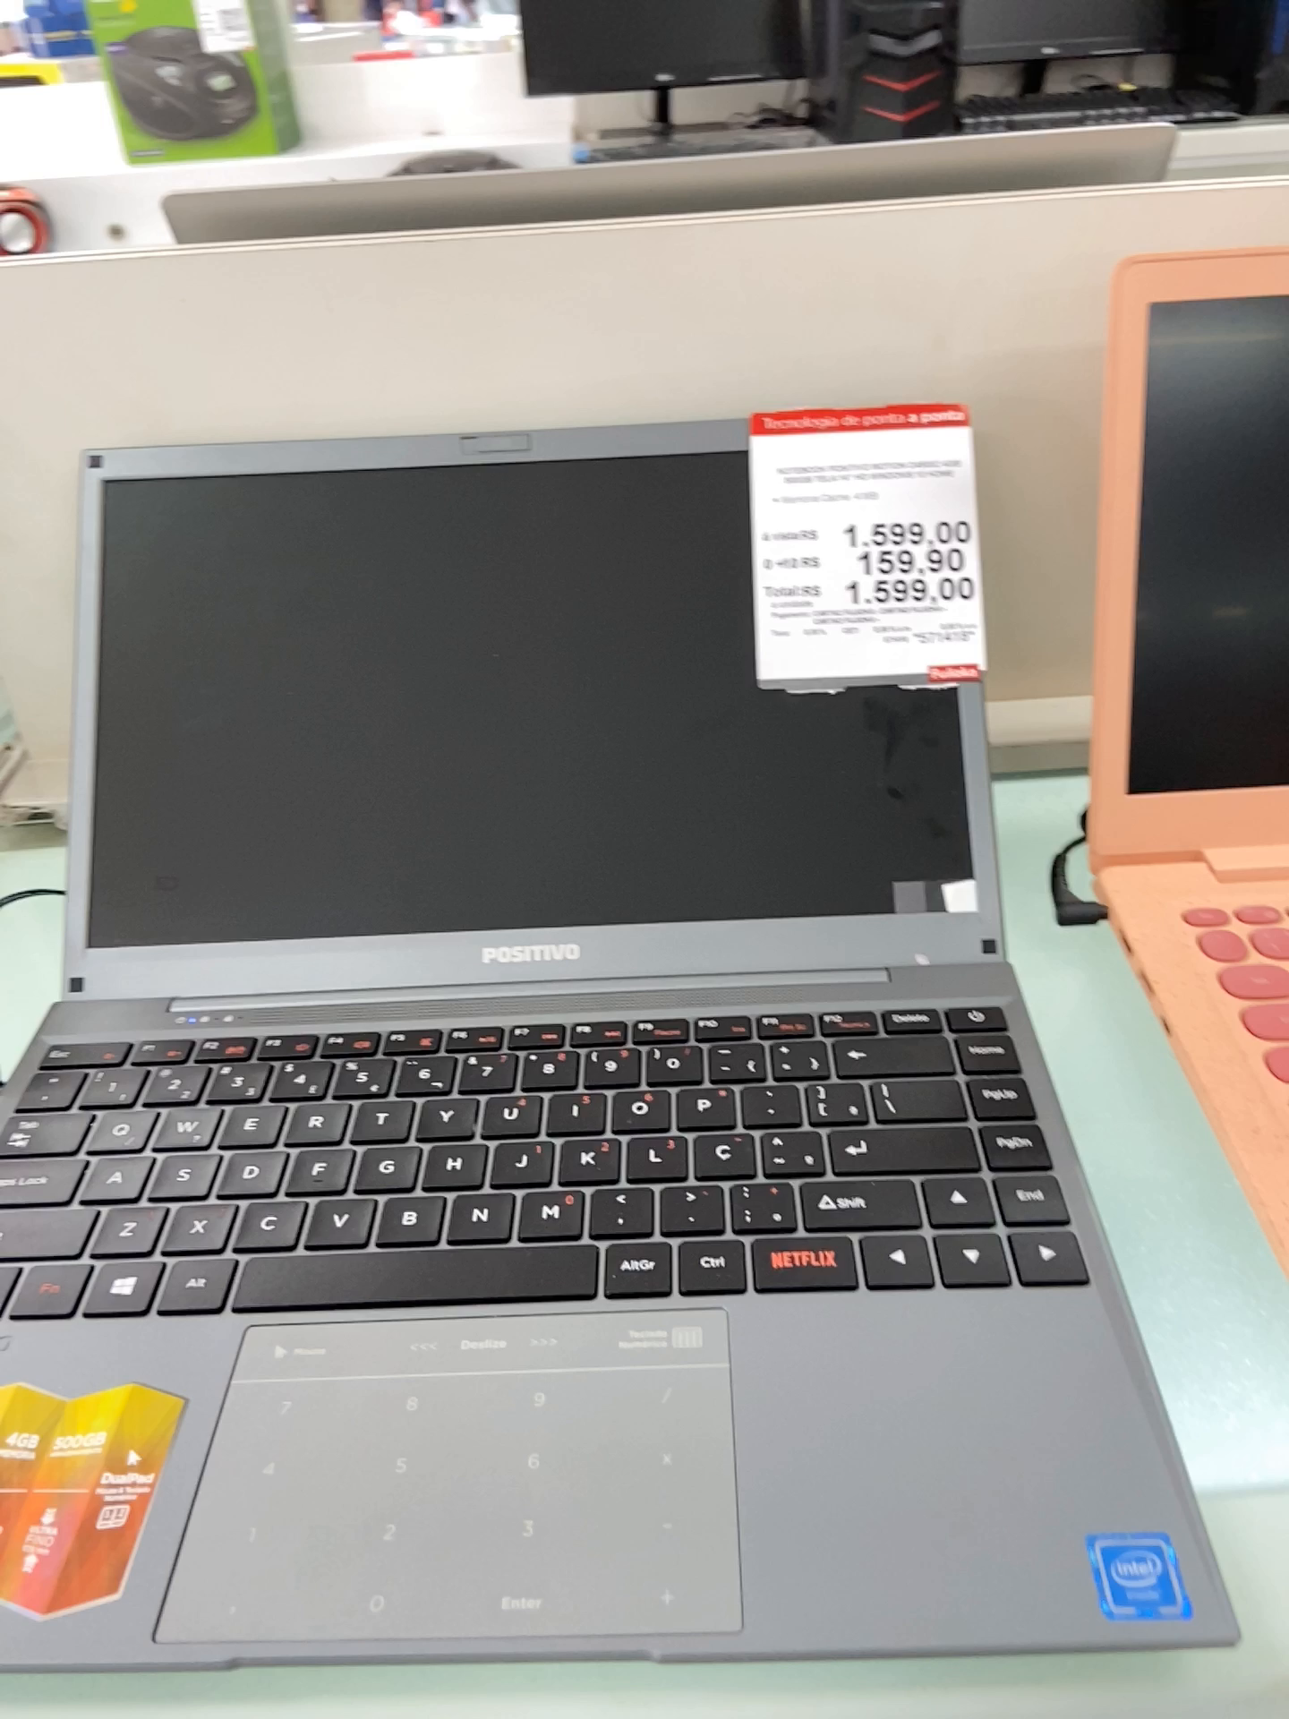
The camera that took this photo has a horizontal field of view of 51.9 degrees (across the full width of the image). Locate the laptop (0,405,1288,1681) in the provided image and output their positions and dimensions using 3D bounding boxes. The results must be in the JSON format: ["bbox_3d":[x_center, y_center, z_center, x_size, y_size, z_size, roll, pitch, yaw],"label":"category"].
[{"bbox_3d":[-0.045,0.004,0.389,0.333,0.144,0.368,-3,35,2],"label":"laptop"}]
